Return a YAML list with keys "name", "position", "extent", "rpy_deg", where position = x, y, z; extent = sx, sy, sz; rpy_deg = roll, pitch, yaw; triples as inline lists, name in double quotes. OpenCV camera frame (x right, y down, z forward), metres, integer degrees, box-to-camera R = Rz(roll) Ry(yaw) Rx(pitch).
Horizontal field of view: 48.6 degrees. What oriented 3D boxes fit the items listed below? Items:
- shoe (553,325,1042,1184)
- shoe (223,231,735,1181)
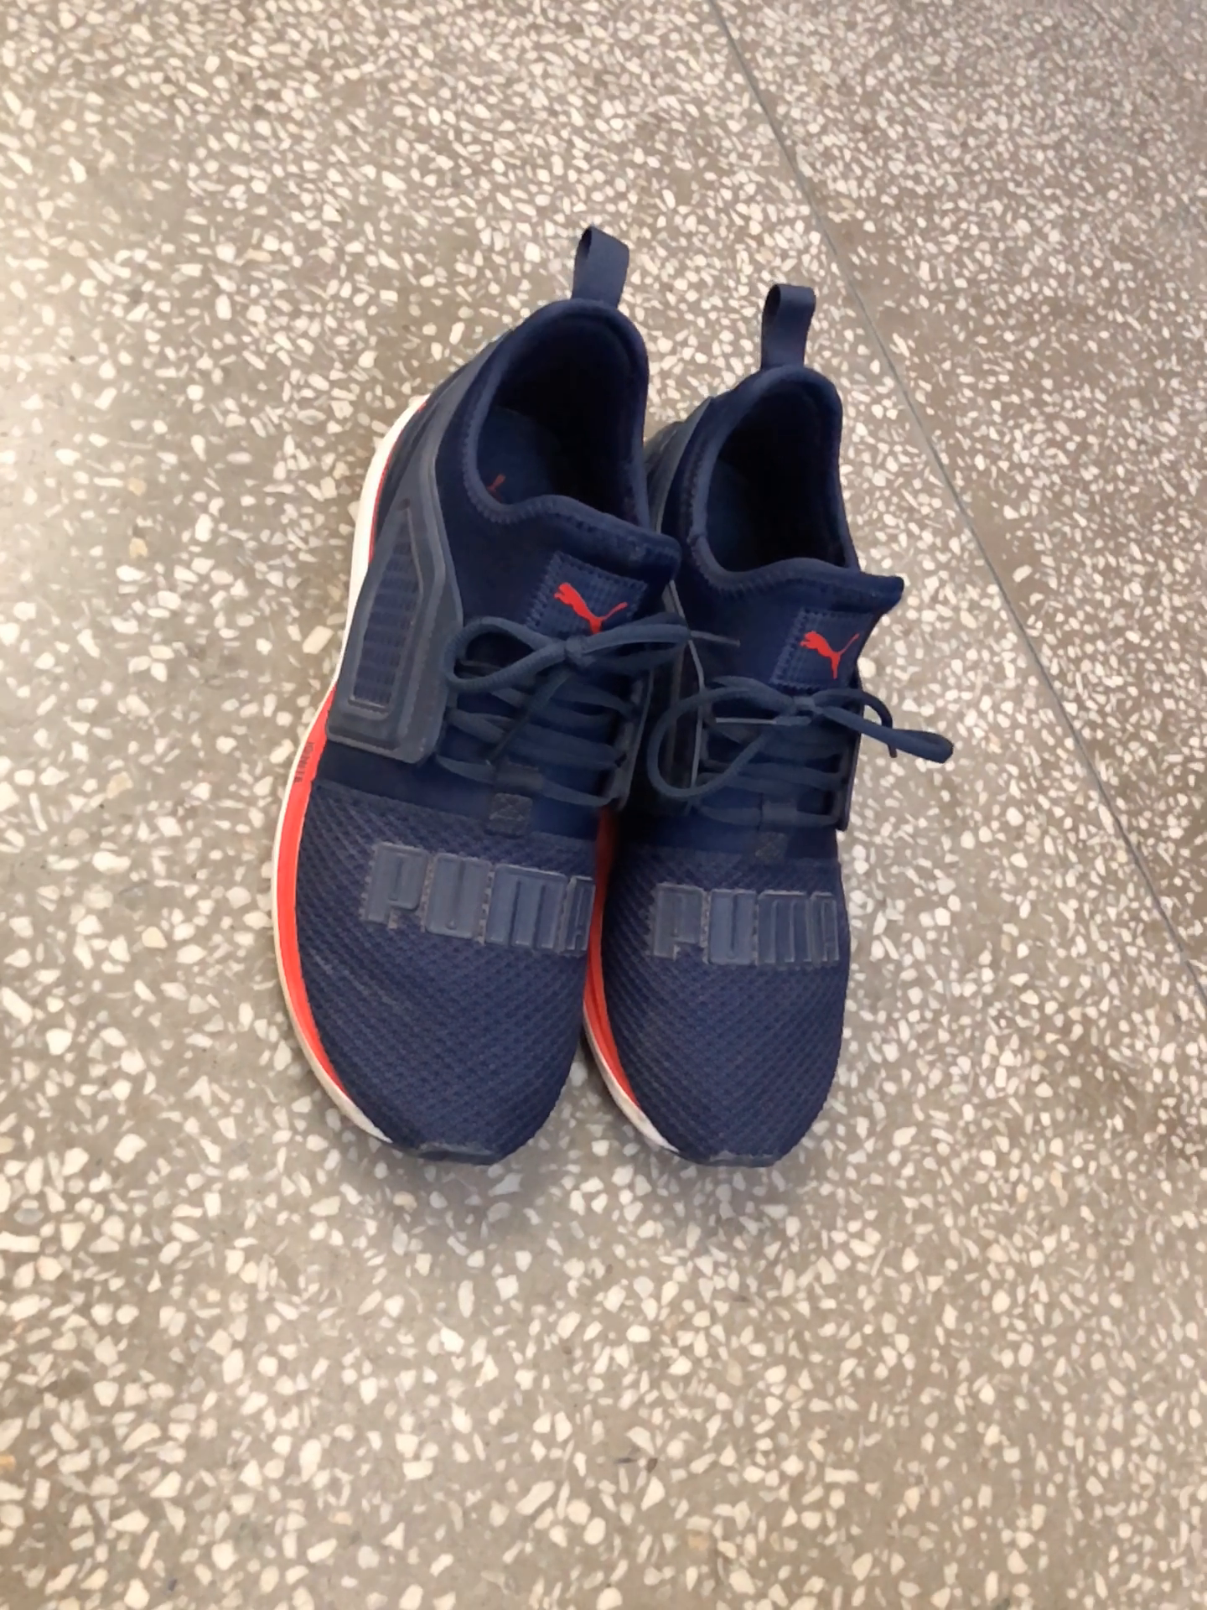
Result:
- name: "shoe"
  position: [0.055, -0.009, 0.457]
  extent: [0.107, 0.113, 0.258]
  rpy_deg: [9, 69, -23]
- name: "shoe"
  position: [-0.036, -0.023, 0.420]
  extent: [0.107, 0.113, 0.258]
  rpy_deg: [12, 67, -21]
